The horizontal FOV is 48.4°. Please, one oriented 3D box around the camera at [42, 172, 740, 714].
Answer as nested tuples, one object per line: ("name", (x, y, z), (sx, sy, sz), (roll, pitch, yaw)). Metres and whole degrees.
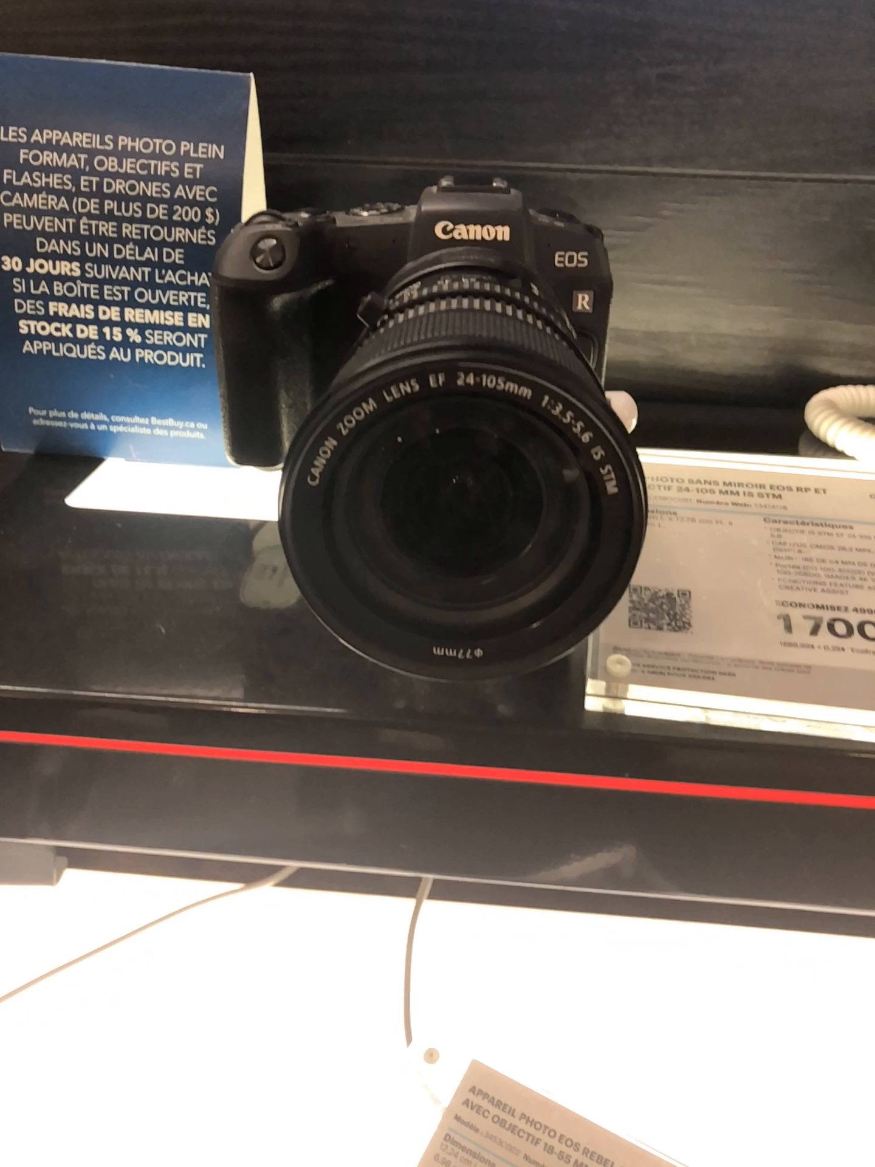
("camera", (-0.007, -0.057, 0.280), (0.128, 0.099, 0.178), (2, 26, 1))
